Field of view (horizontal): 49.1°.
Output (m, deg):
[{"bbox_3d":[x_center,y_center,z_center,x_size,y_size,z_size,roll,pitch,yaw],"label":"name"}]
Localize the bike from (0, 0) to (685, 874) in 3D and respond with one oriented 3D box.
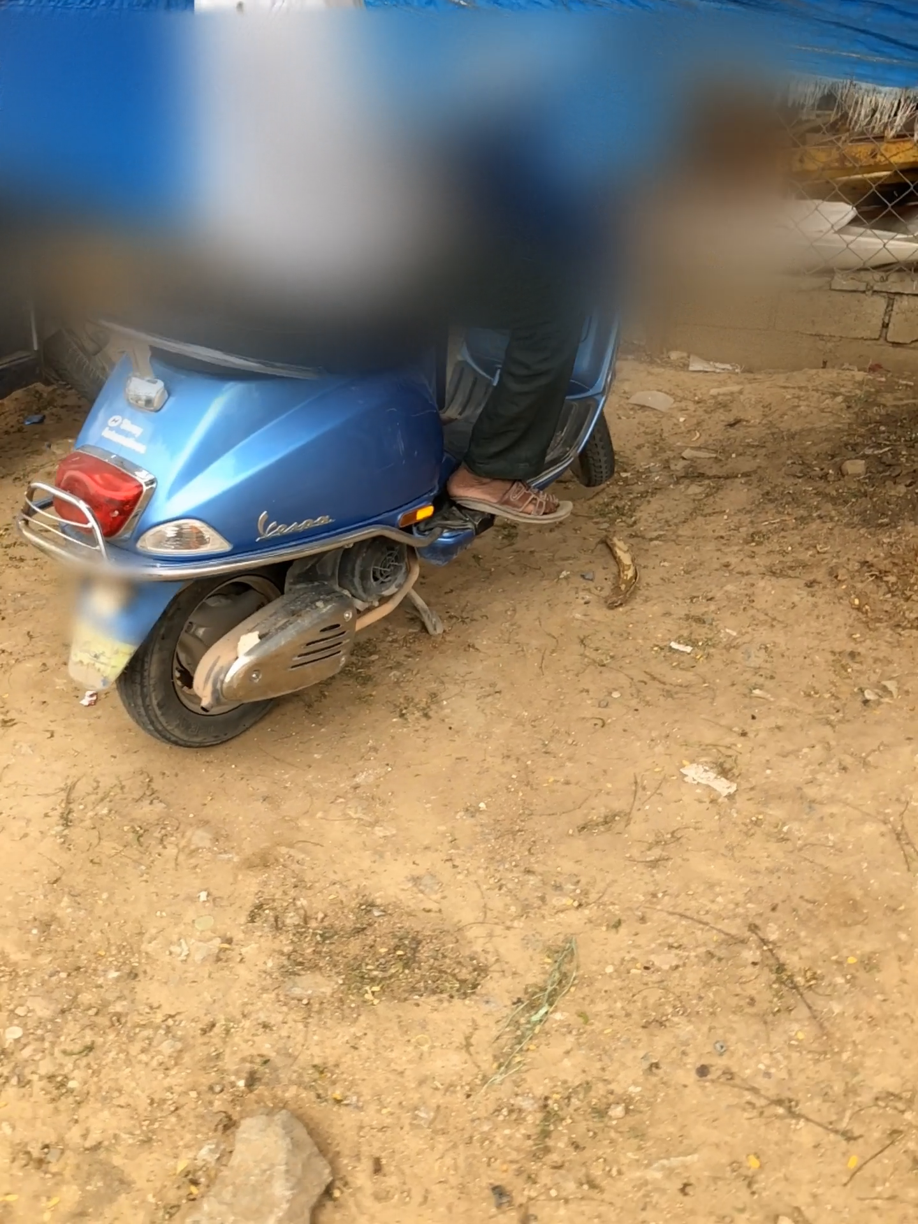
[{"bbox_3d":[-0.128,-0.645,2.104,0.632,1.253,1.576,15,37,25],"label":"bike"}]
